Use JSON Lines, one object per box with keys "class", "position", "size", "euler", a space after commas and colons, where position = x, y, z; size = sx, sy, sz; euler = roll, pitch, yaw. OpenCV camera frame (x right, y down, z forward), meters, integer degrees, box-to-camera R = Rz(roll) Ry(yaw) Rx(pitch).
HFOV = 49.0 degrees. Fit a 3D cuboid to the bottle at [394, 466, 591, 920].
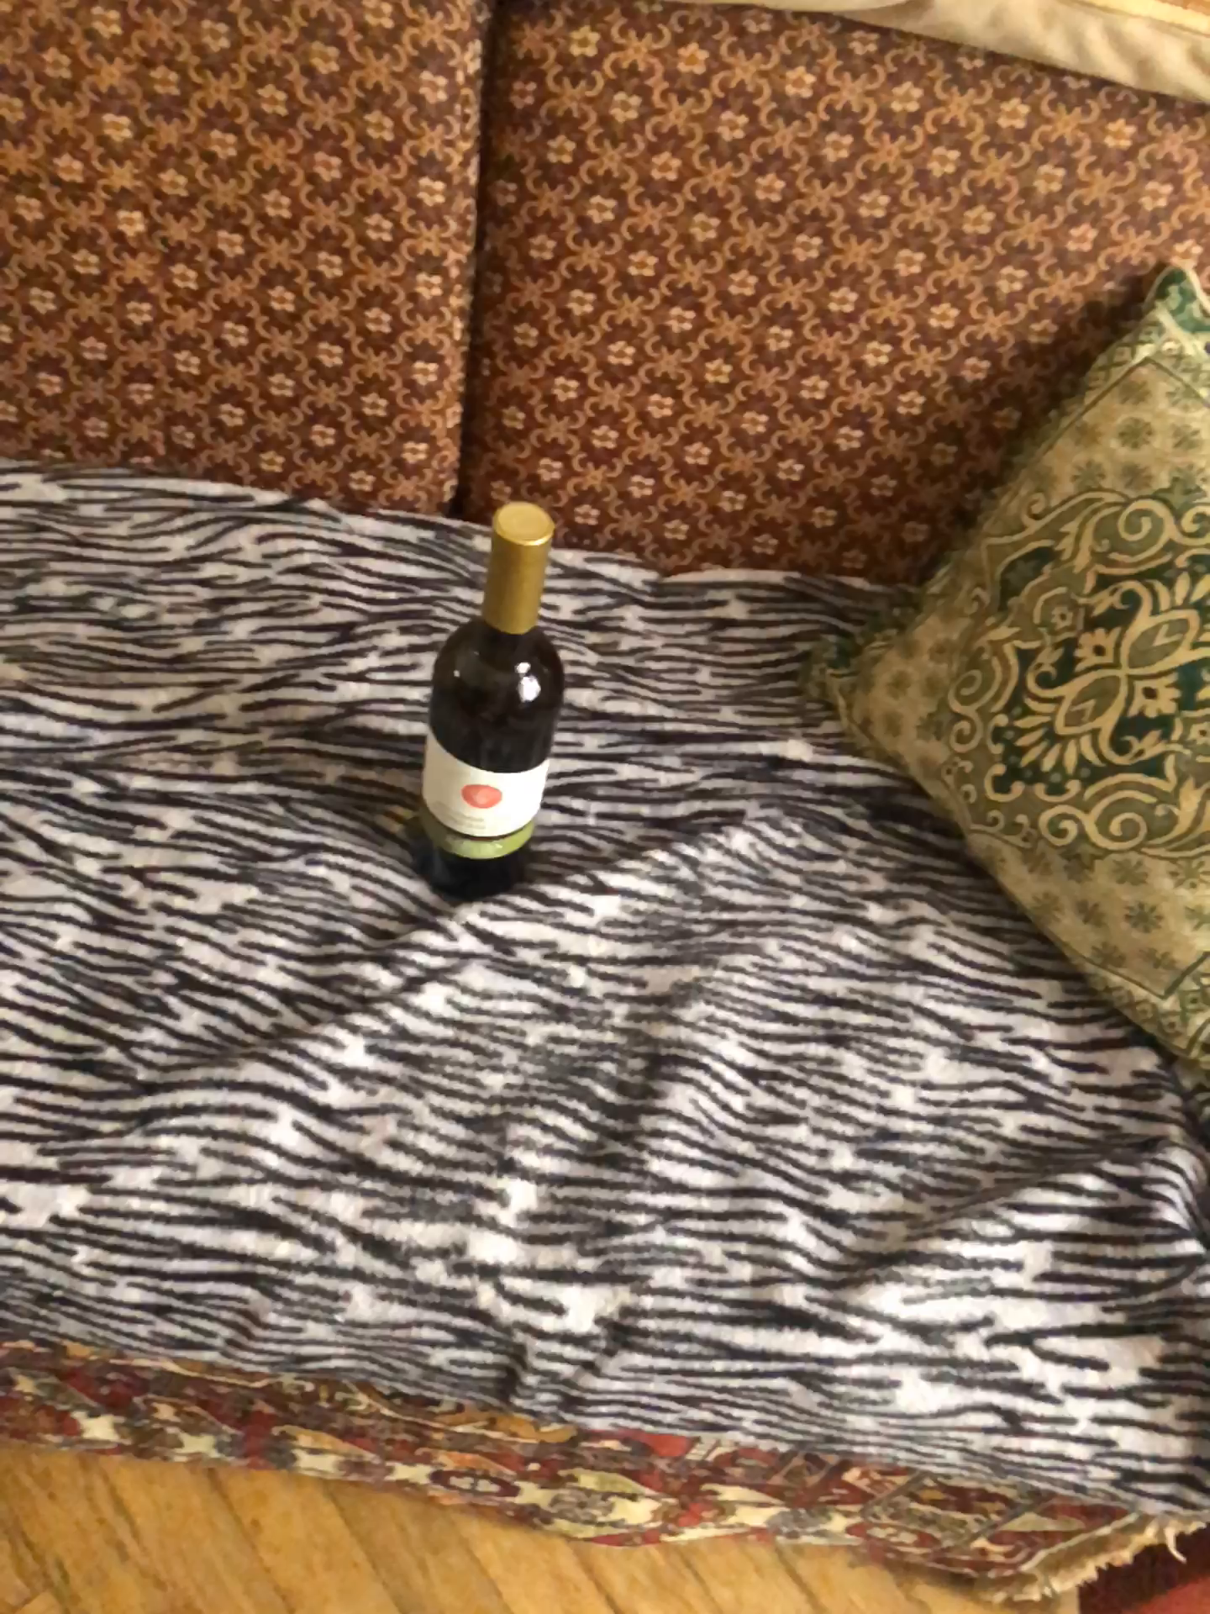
{"class": "bottle", "position": [-0.068, -0.049, 0.731], "size": [0.080, 0.268, 0.080], "euler": [5, 52, -7]}
